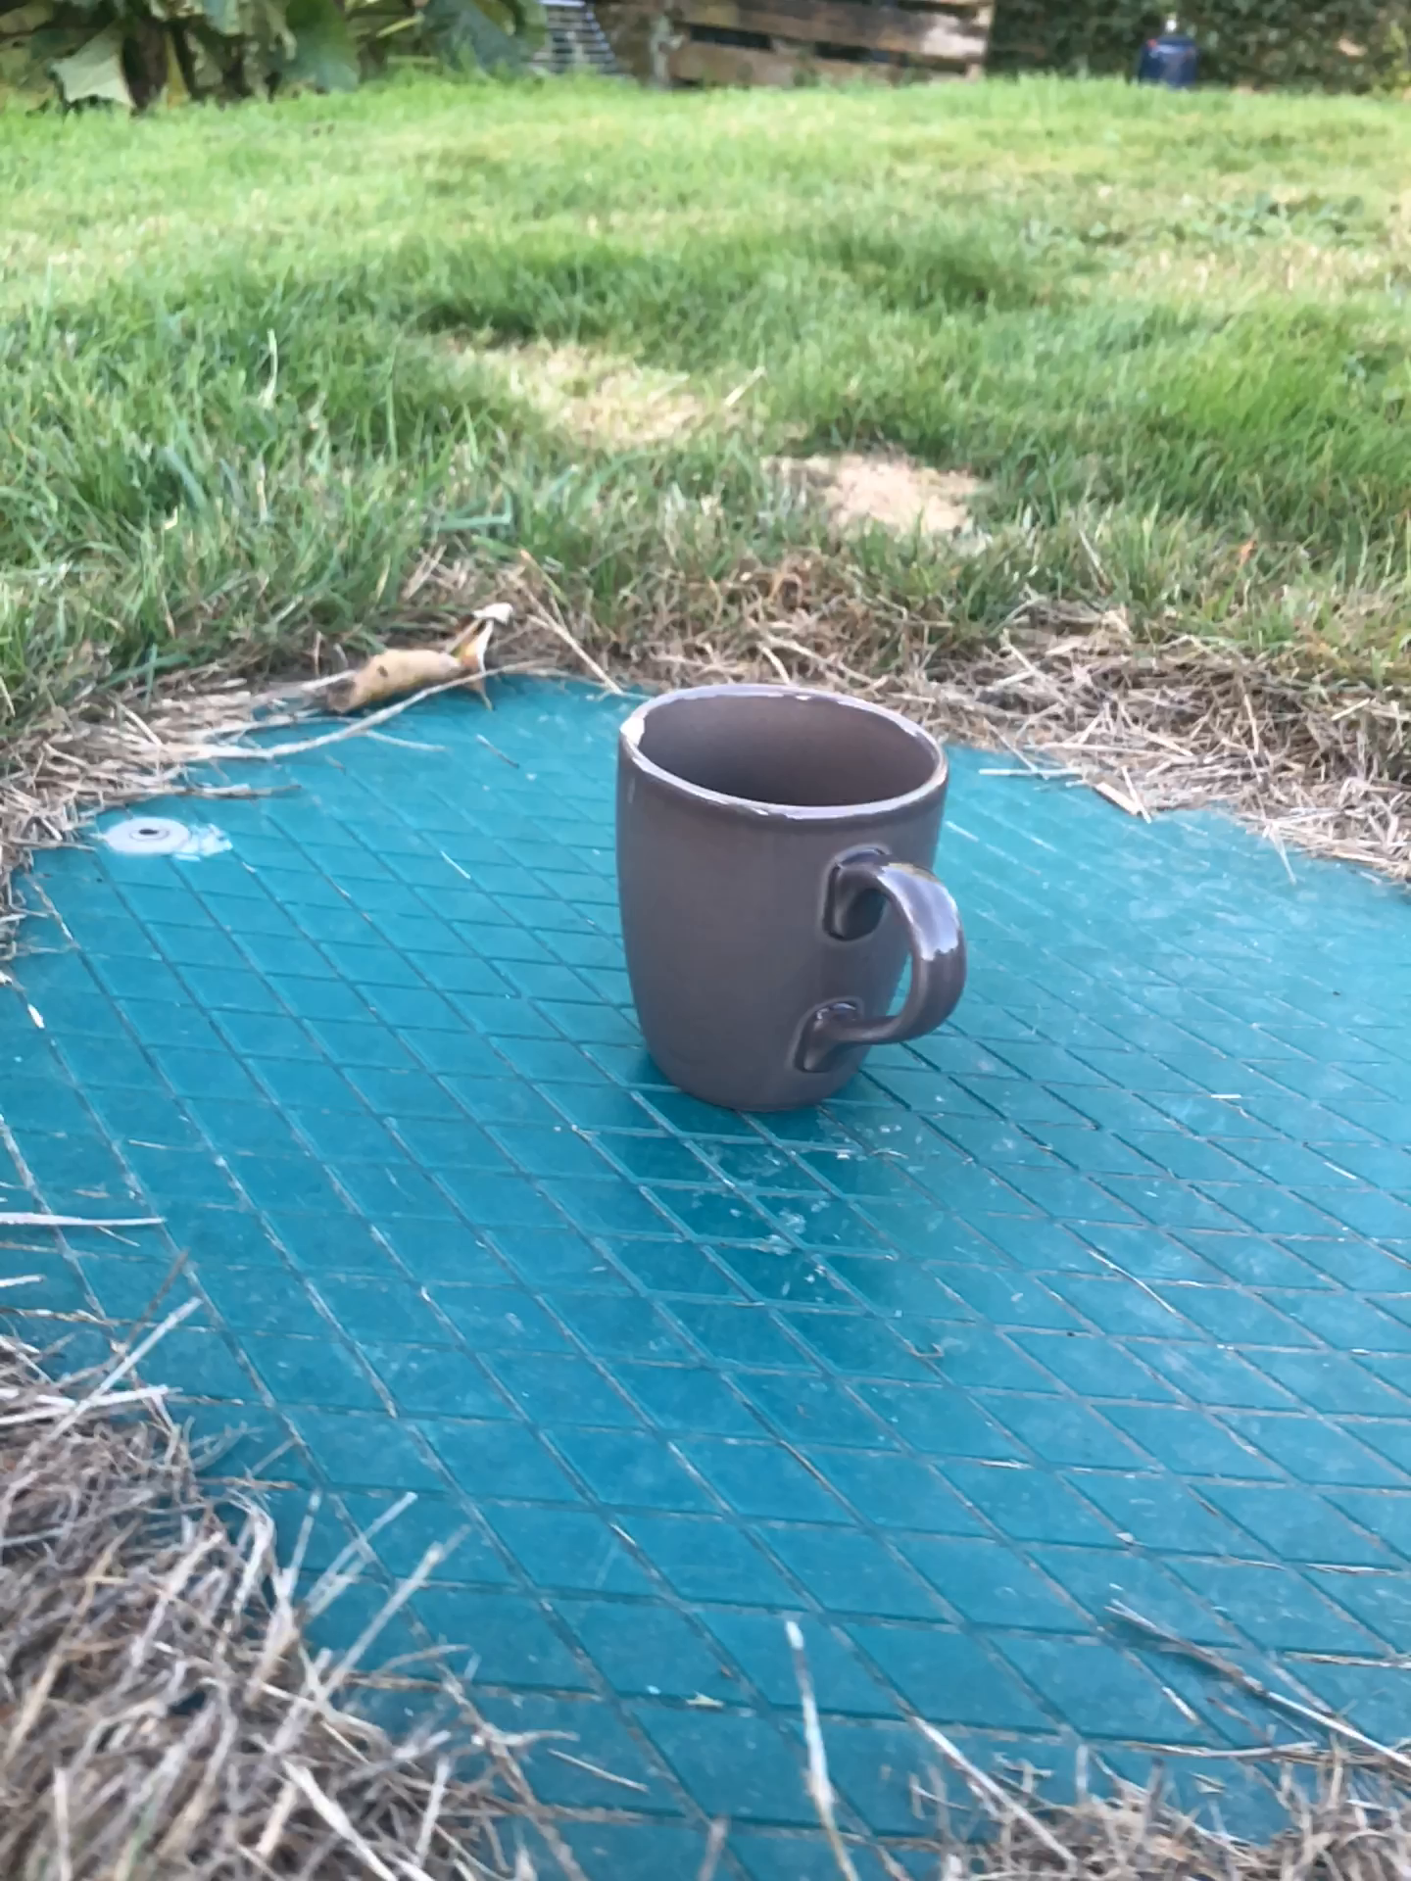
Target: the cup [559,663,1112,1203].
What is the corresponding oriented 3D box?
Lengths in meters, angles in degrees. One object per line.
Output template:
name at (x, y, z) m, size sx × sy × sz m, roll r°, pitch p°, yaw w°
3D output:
cup at (0.026, -0.011, 0.419) m, size 0.091 × 0.086 × 0.126 m, roll -10°, pitch 30°, yaw -24°
